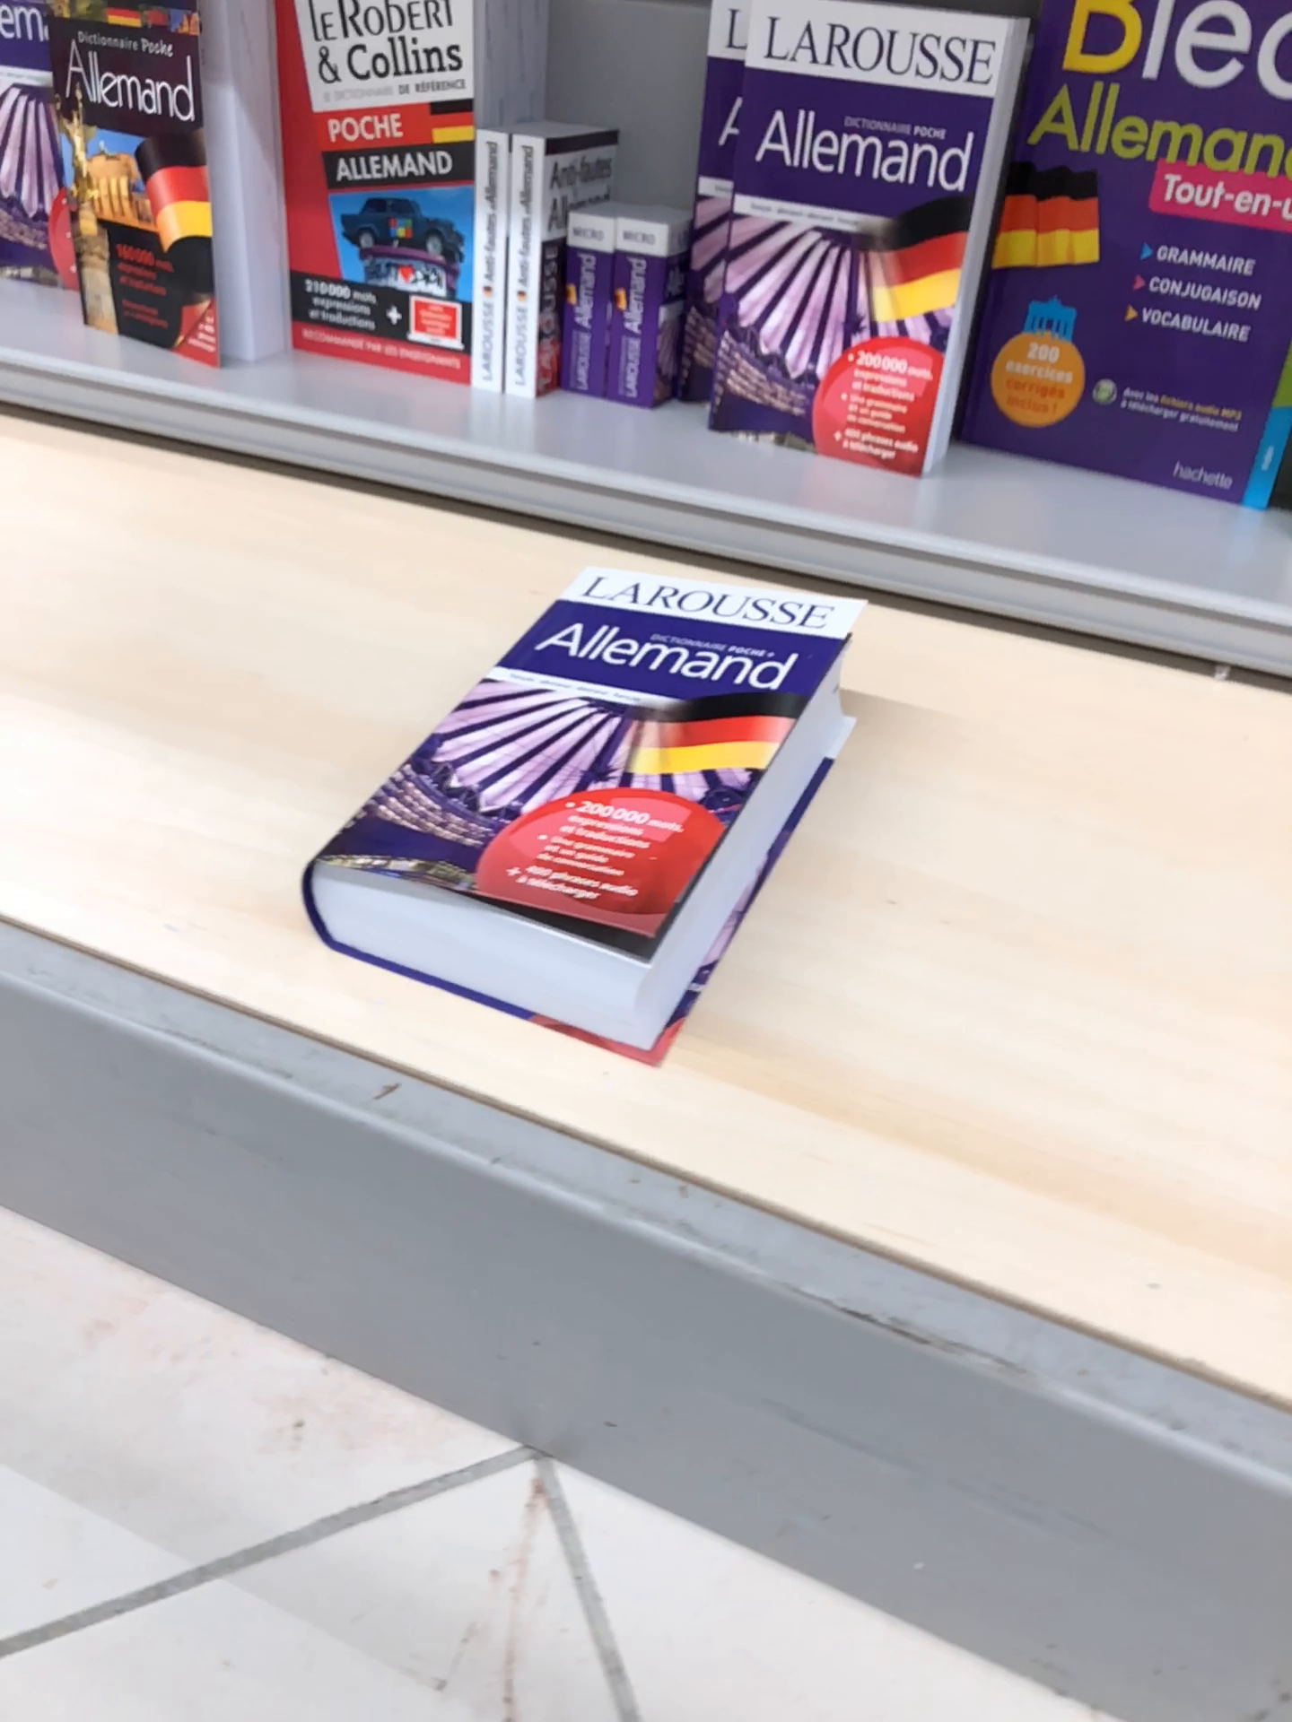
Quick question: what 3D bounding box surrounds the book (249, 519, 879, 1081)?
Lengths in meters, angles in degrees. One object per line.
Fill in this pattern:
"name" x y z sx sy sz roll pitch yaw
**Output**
"book" -0.015 -0.032 0.447 0.120 0.050 0.182 17 45 19
